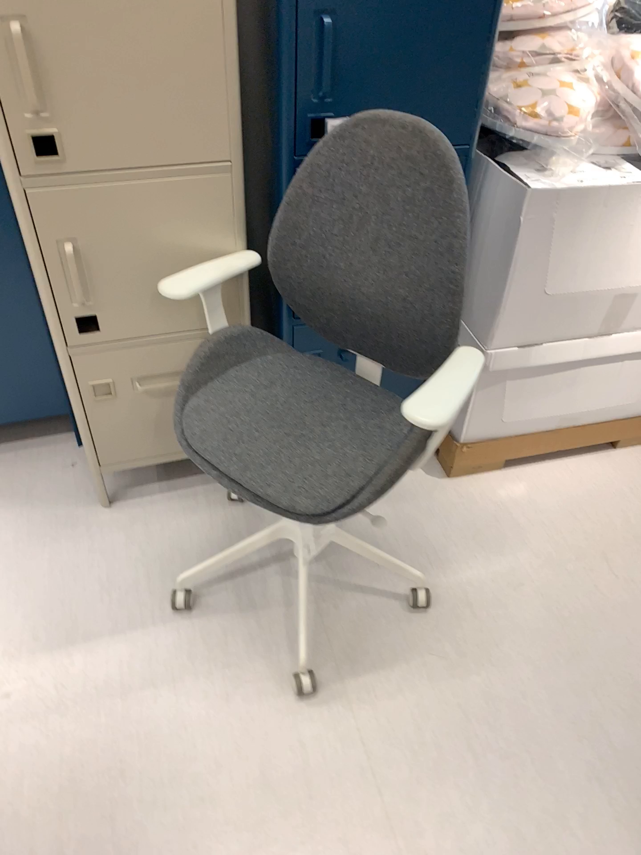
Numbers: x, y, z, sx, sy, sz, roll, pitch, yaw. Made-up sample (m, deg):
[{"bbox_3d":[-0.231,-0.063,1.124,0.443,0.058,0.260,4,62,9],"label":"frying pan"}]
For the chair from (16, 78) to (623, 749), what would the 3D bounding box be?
[{"bbox_3d":[0.006,-0.033,1.327,0.651,0.996,0.672,29,48,26],"label":"chair"}]
